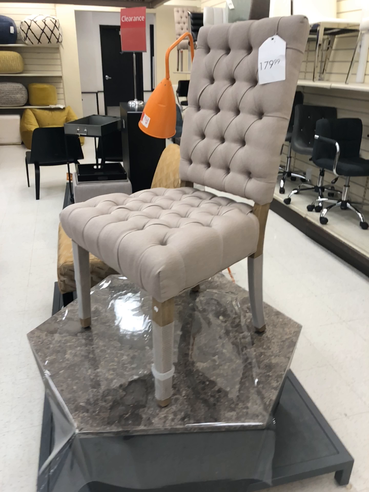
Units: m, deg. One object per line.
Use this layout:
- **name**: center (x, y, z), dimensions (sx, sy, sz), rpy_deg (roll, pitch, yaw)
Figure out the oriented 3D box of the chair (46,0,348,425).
- **chair**: center (0.016, -0.143, 1.301), dimensions (0.581, 1.046, 0.571), rpy_deg (-18, 29, -36)
